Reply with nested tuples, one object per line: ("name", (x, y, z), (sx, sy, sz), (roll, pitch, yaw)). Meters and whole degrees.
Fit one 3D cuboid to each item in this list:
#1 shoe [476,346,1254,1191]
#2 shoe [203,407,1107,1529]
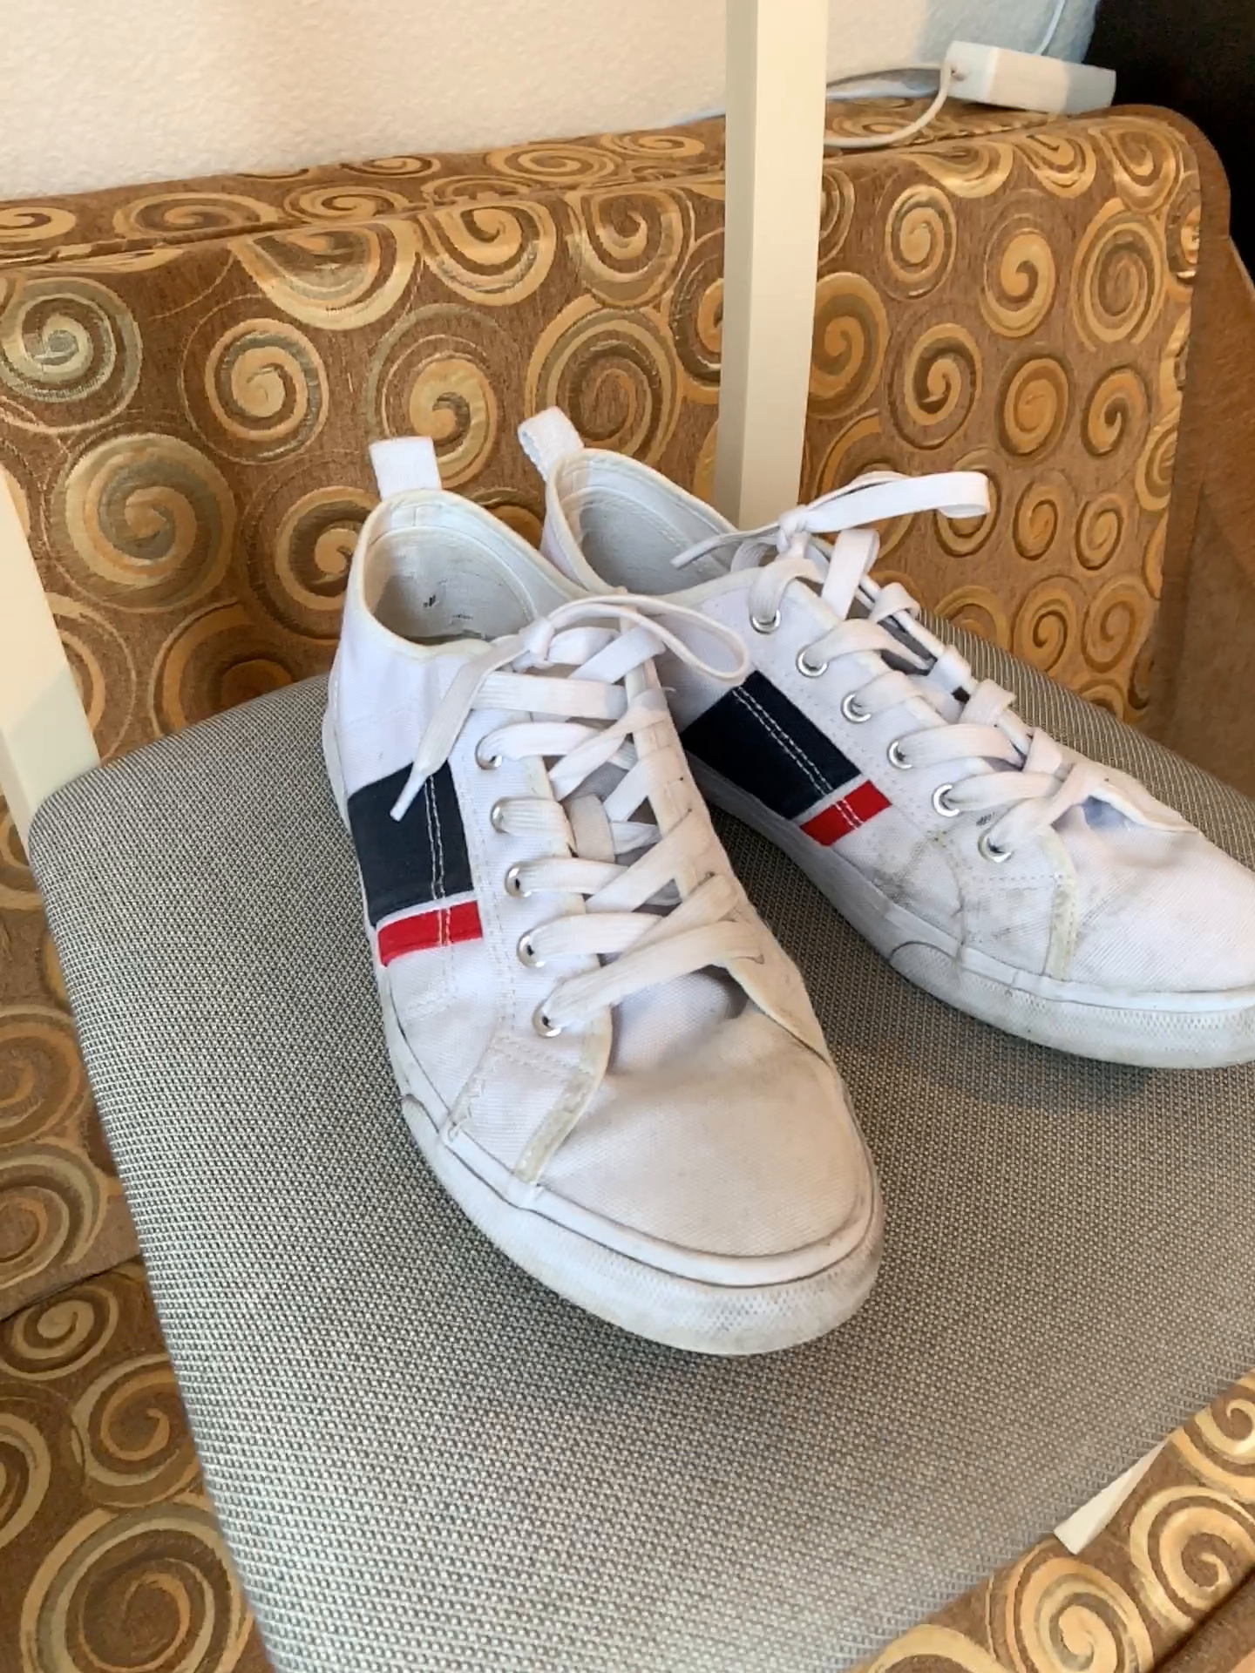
("shoe", (0.088, -0.039, 0.387), (0.271, 0.090, 0.110), (36, 52, 25))
("shoe", (-0.022, 0.002, 0.341), (0.120, 0.090, 0.281), (-12, 49, -18))
